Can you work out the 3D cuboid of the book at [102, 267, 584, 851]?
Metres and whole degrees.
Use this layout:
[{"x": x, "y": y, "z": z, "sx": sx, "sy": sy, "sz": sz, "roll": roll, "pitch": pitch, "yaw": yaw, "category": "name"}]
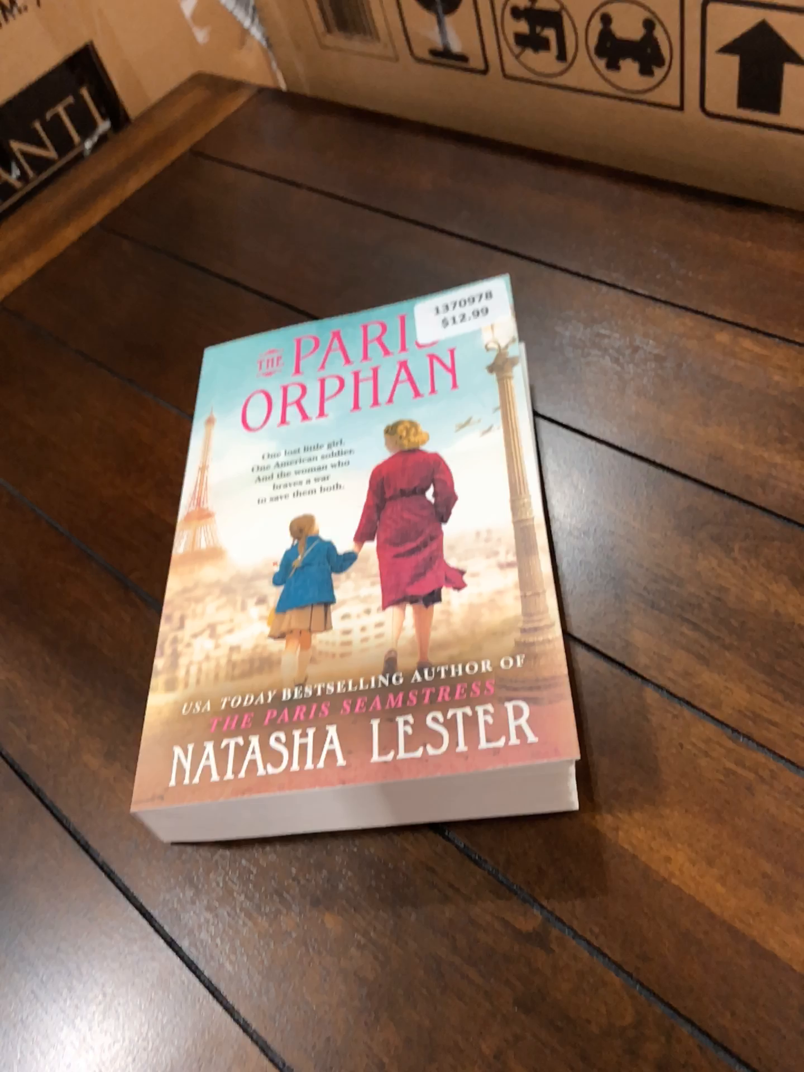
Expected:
[{"x": -0.018, "y": -0.001, "z": 0.316, "sx": 0.134, "sy": 0.035, "sz": 0.199, "roll": -10, "pitch": 54, "yaw": 13, "category": "book"}]
